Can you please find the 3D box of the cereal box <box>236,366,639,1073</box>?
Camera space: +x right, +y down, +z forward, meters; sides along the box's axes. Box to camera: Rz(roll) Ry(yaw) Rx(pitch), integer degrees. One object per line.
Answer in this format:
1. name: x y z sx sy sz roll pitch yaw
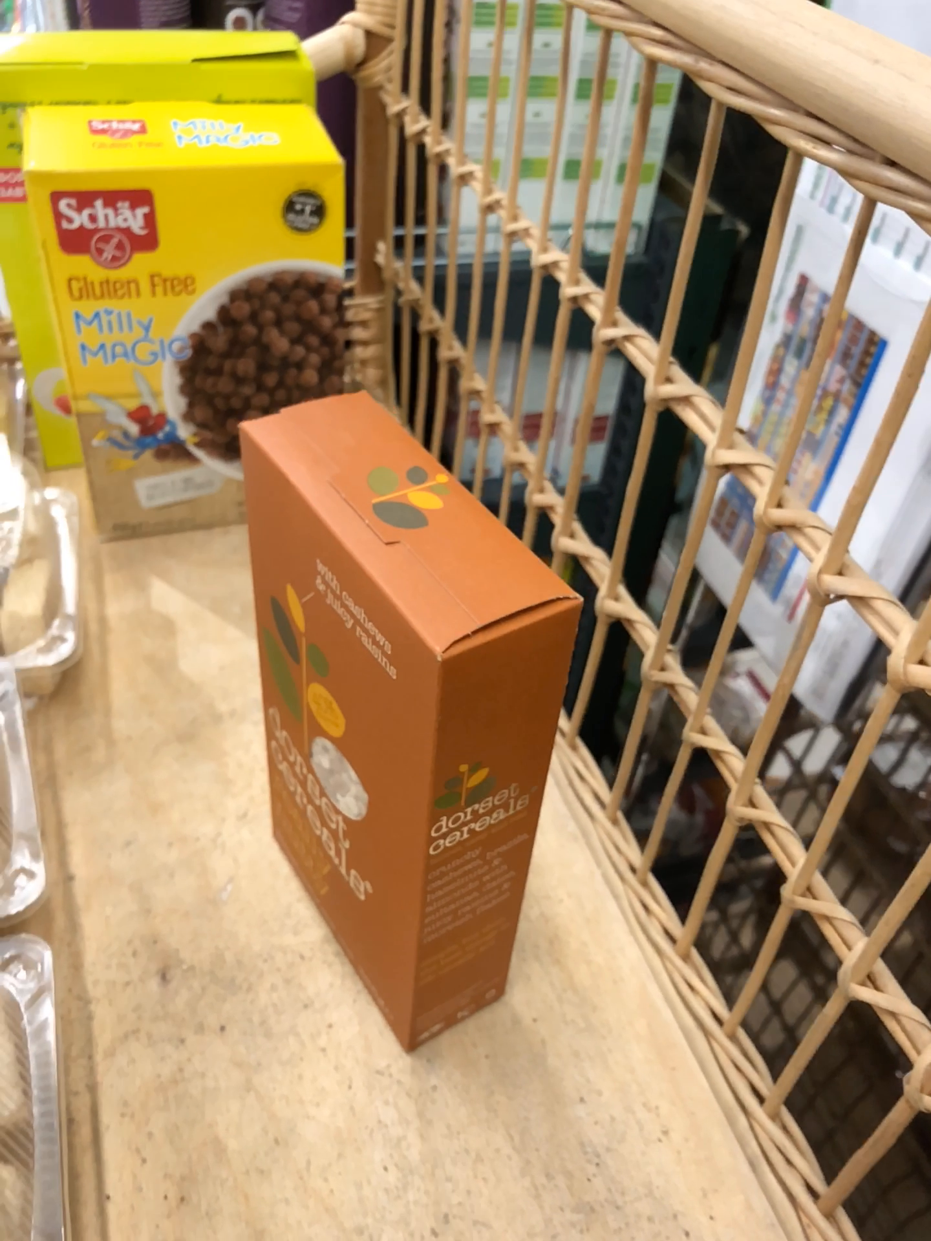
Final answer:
1. cereal box: -0.022 0.041 0.358 0.050 0.209 0.130 -21 49 -27
